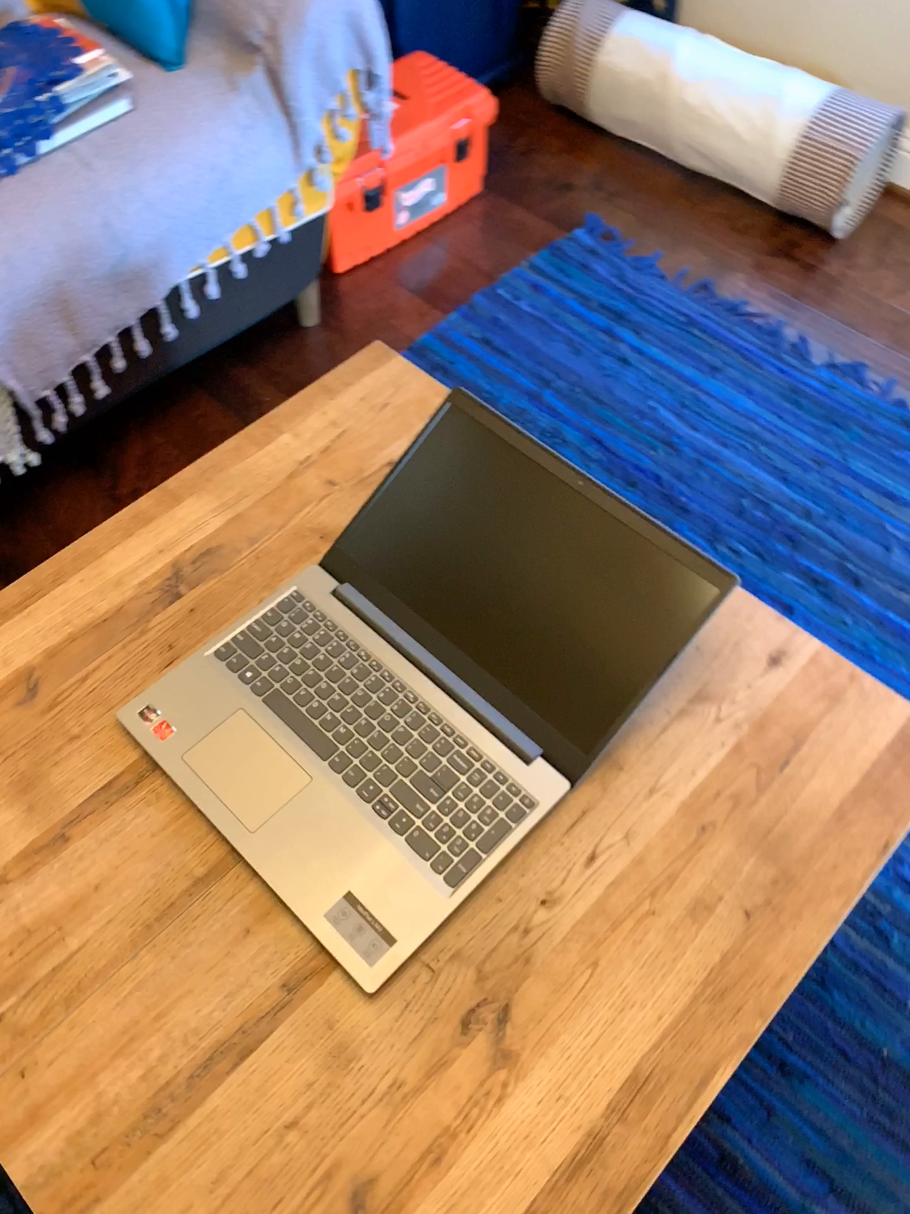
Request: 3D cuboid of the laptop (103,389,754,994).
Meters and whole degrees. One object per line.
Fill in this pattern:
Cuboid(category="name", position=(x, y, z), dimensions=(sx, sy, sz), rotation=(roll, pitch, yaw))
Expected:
Cuboid(category="laptop", position=(-0.020, 0.043, 0.864), dimensions=(0.461, 0.099, 0.346), rotation=(-41, 64, -20))
